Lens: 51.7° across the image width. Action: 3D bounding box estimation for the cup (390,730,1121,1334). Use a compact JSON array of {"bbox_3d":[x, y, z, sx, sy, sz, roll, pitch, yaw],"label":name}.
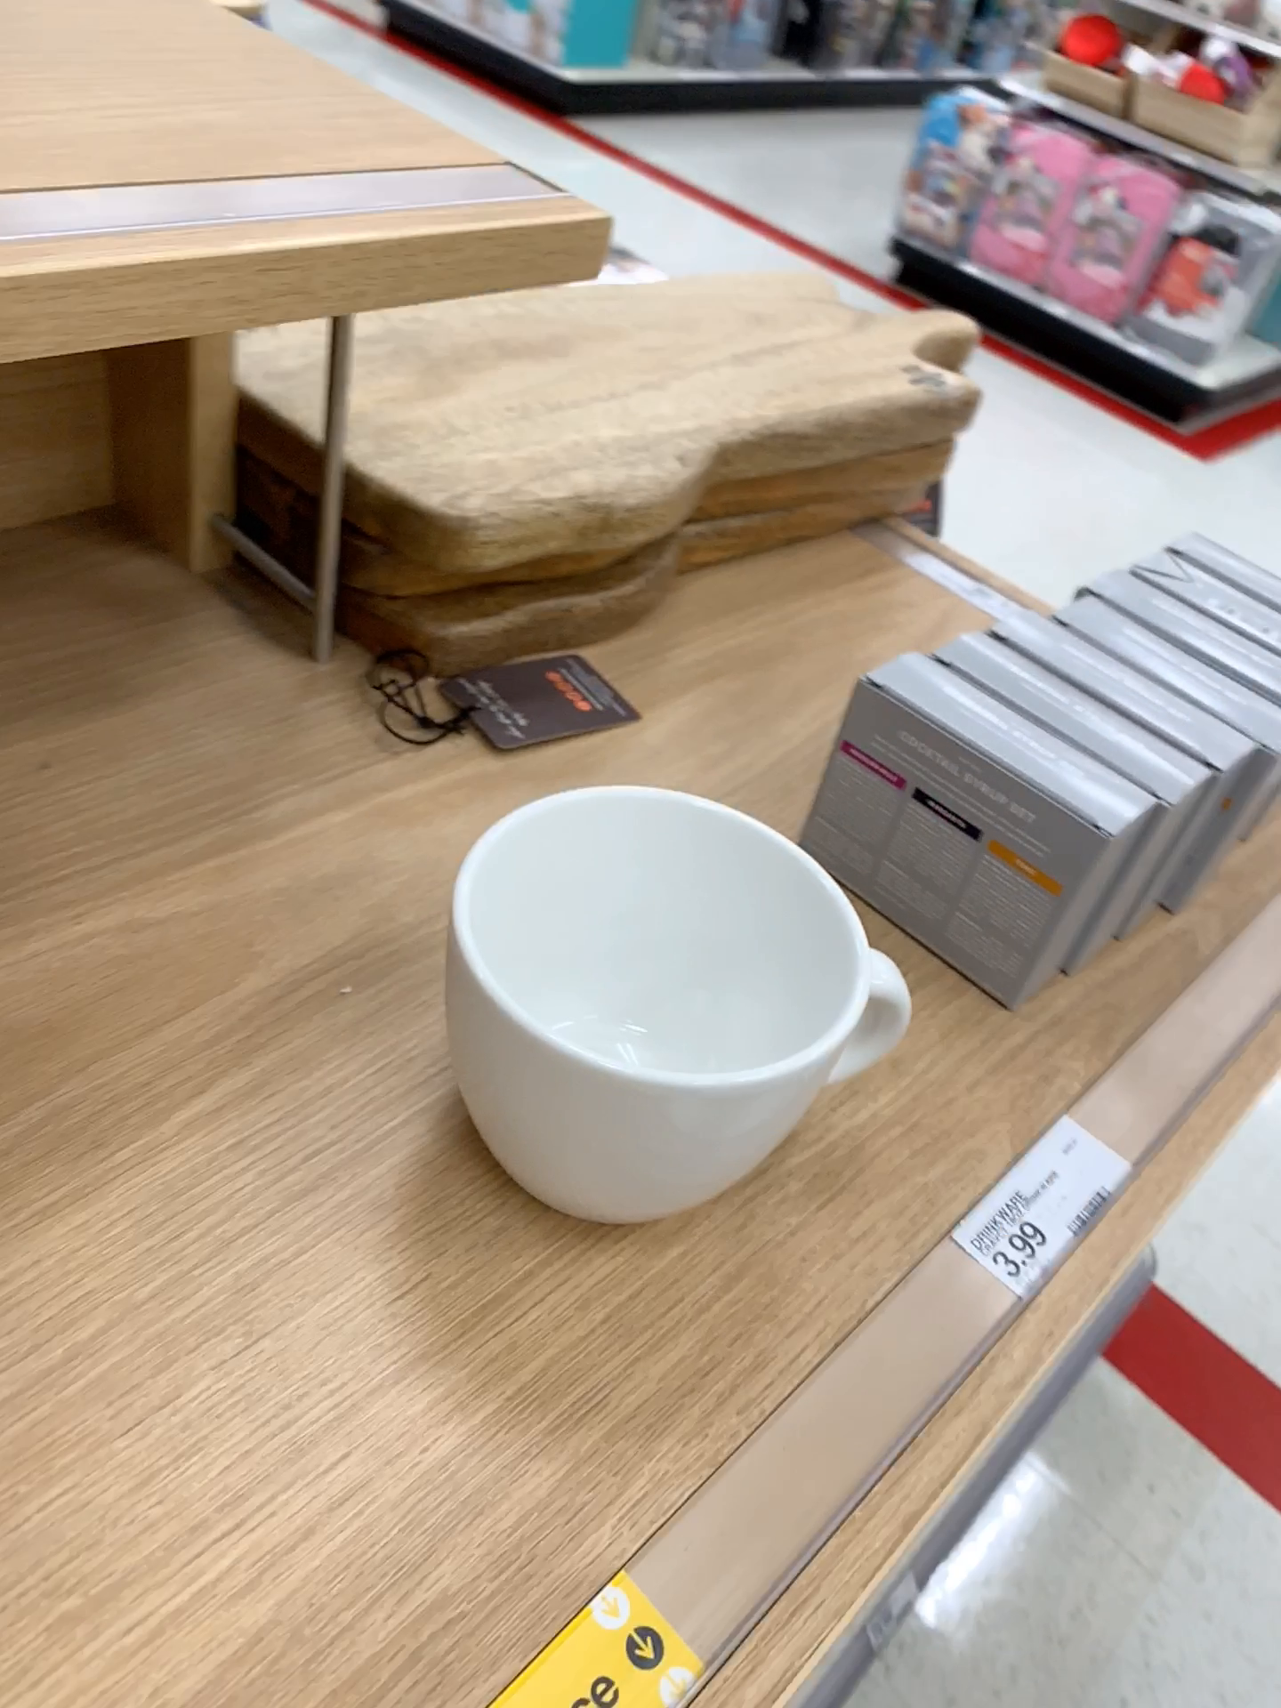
[{"bbox_3d":[0.020,0.037,0.340,0.140,0.080,0.110,-5,45,-23],"label":"cup"}]
